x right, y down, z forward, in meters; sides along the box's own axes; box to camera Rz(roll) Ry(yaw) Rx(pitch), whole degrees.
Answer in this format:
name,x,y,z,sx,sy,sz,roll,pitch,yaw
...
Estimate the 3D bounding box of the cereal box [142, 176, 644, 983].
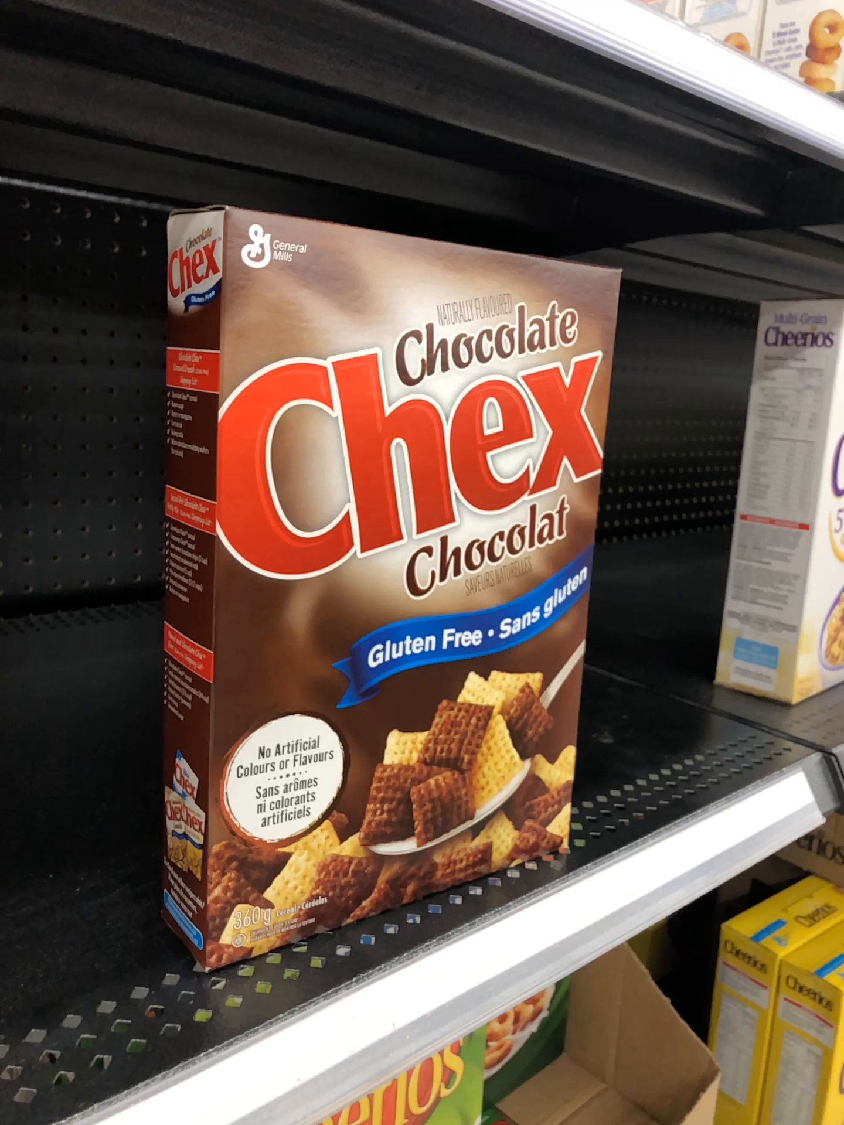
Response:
name,x,y,z,sx,sy,sz,roll,pitch,yaw
cereal box,-0.009,0.005,0.393,0.200,0.279,0.050,-4,14,-36
